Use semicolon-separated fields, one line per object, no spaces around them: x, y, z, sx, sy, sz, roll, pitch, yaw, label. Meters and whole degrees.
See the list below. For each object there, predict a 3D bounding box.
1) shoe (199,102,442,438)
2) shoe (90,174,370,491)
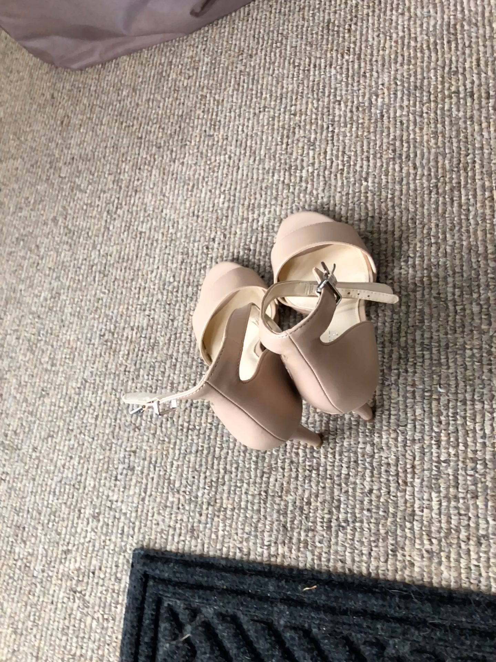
0.060;-0.040;0.448;0.099;0.154;0.207;-24;62;15;shoe
-0.014;0.006;0.457;0.105;0.144;0.207;-35;59;8;shoe
